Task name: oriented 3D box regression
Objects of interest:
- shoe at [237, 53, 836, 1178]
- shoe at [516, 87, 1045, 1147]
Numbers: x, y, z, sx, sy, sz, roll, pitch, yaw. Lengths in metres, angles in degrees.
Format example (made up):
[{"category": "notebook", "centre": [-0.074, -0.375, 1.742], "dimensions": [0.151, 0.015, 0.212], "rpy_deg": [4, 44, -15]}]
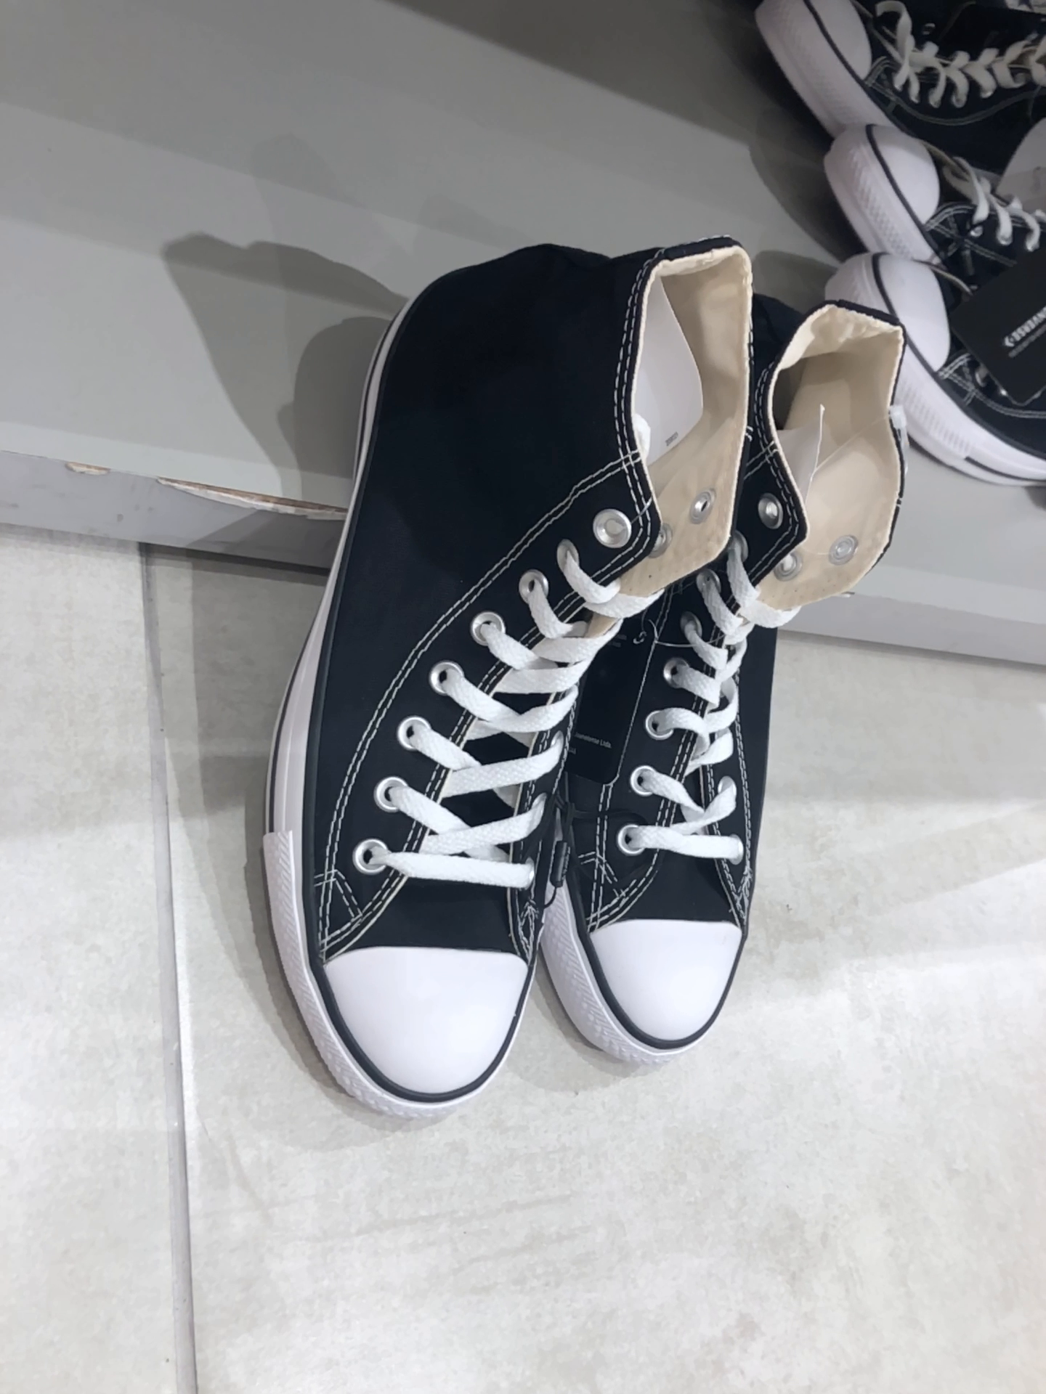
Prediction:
[{"category": "shoe", "centre": [-0.002, -0.020, 0.406], "dimensions": [0.120, 0.139, 0.310], "rpy_deg": [8, 87, -29]}, {"category": "shoe", "centre": [0.099, -0.024, 0.449], "dimensions": [0.120, 0.139, 0.330], "rpy_deg": [6, 88, -30]}]
